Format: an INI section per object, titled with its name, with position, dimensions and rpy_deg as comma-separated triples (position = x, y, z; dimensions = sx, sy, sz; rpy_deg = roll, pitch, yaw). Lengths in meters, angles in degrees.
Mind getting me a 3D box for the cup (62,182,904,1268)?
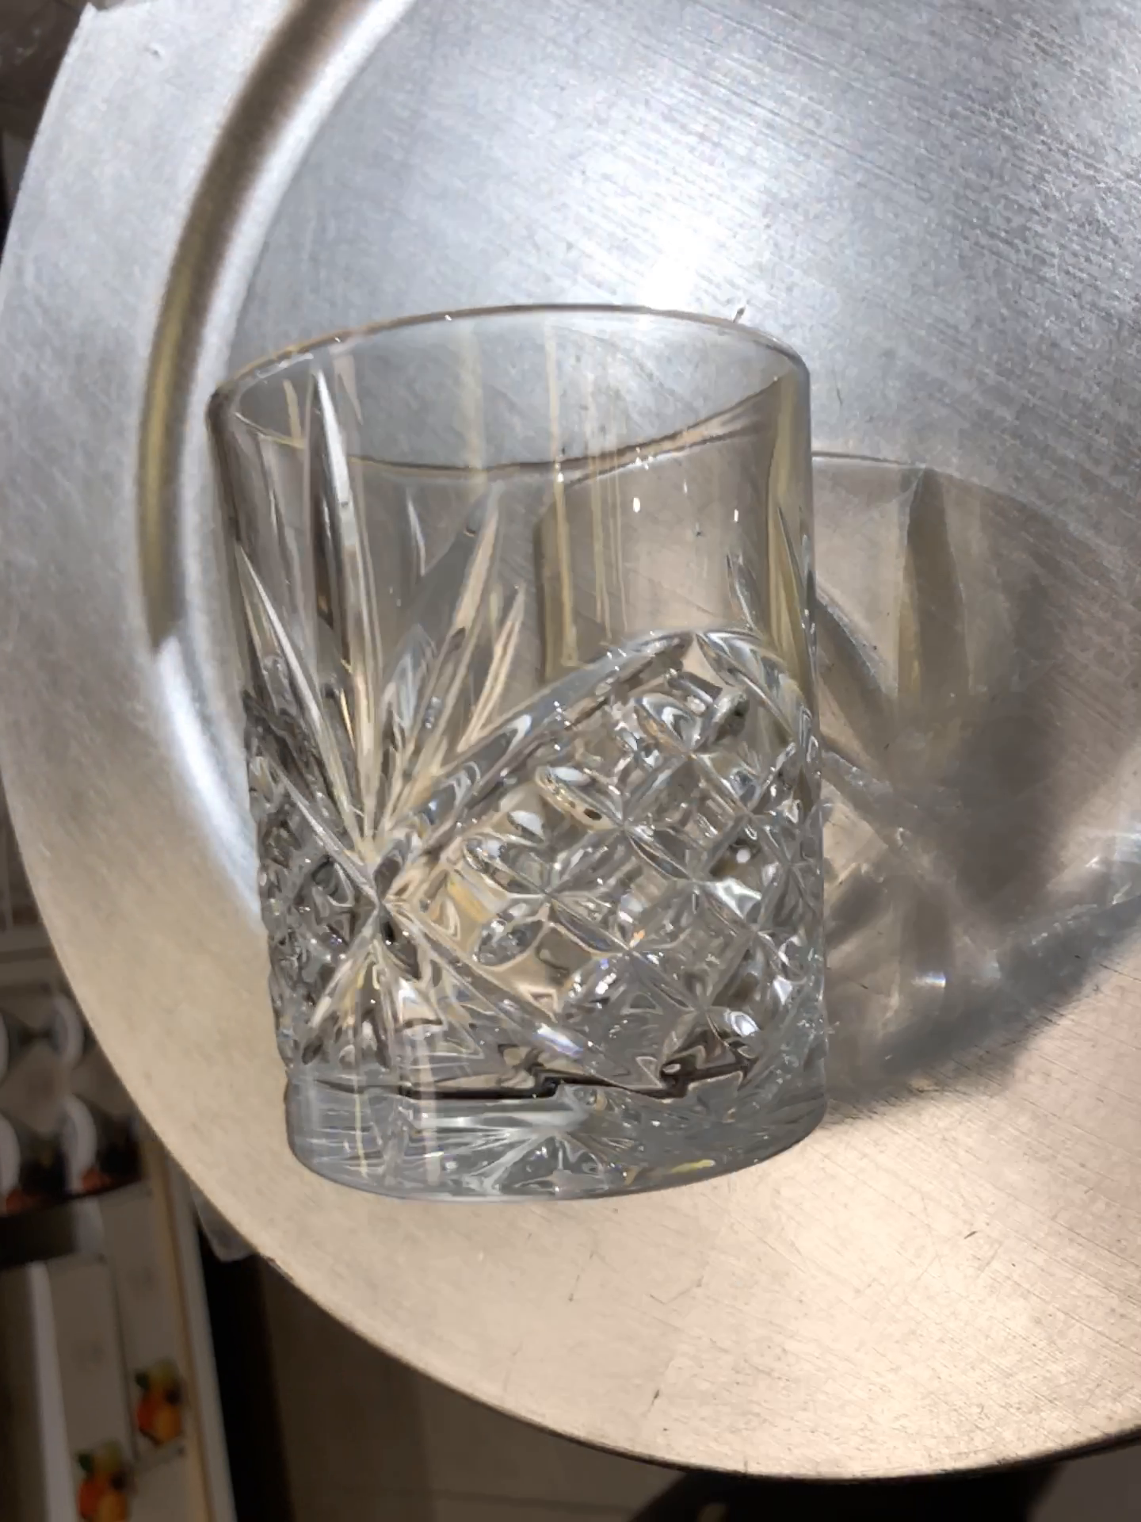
[cup]
position = -0.010, -0.002, 0.165
dimensions = 0.080, 0.060, 0.100
rpy_deg = -5, 90, 33
